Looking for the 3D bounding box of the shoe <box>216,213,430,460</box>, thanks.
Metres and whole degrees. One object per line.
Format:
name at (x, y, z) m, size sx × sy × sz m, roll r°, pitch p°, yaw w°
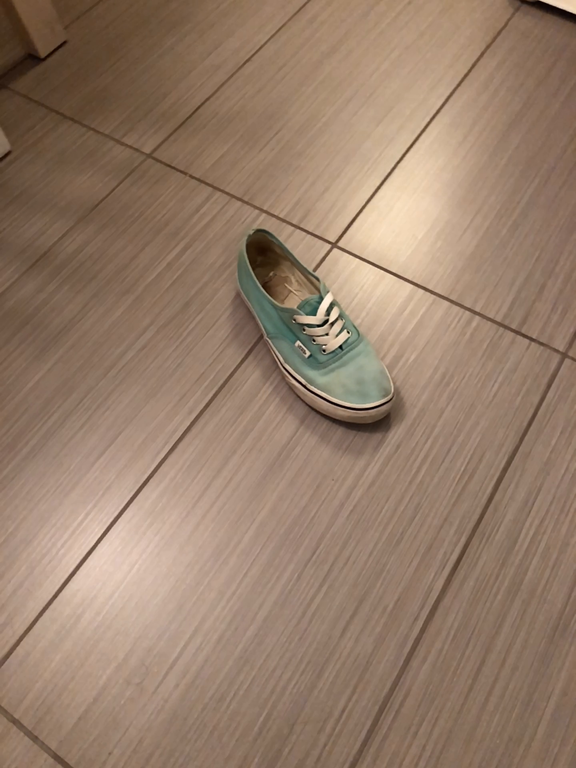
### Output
shoe at (0.030, -0.057, 0.684) m, size 0.090 × 0.080 × 0.261 m, roll -30°, pitch 64°, yaw -13°
